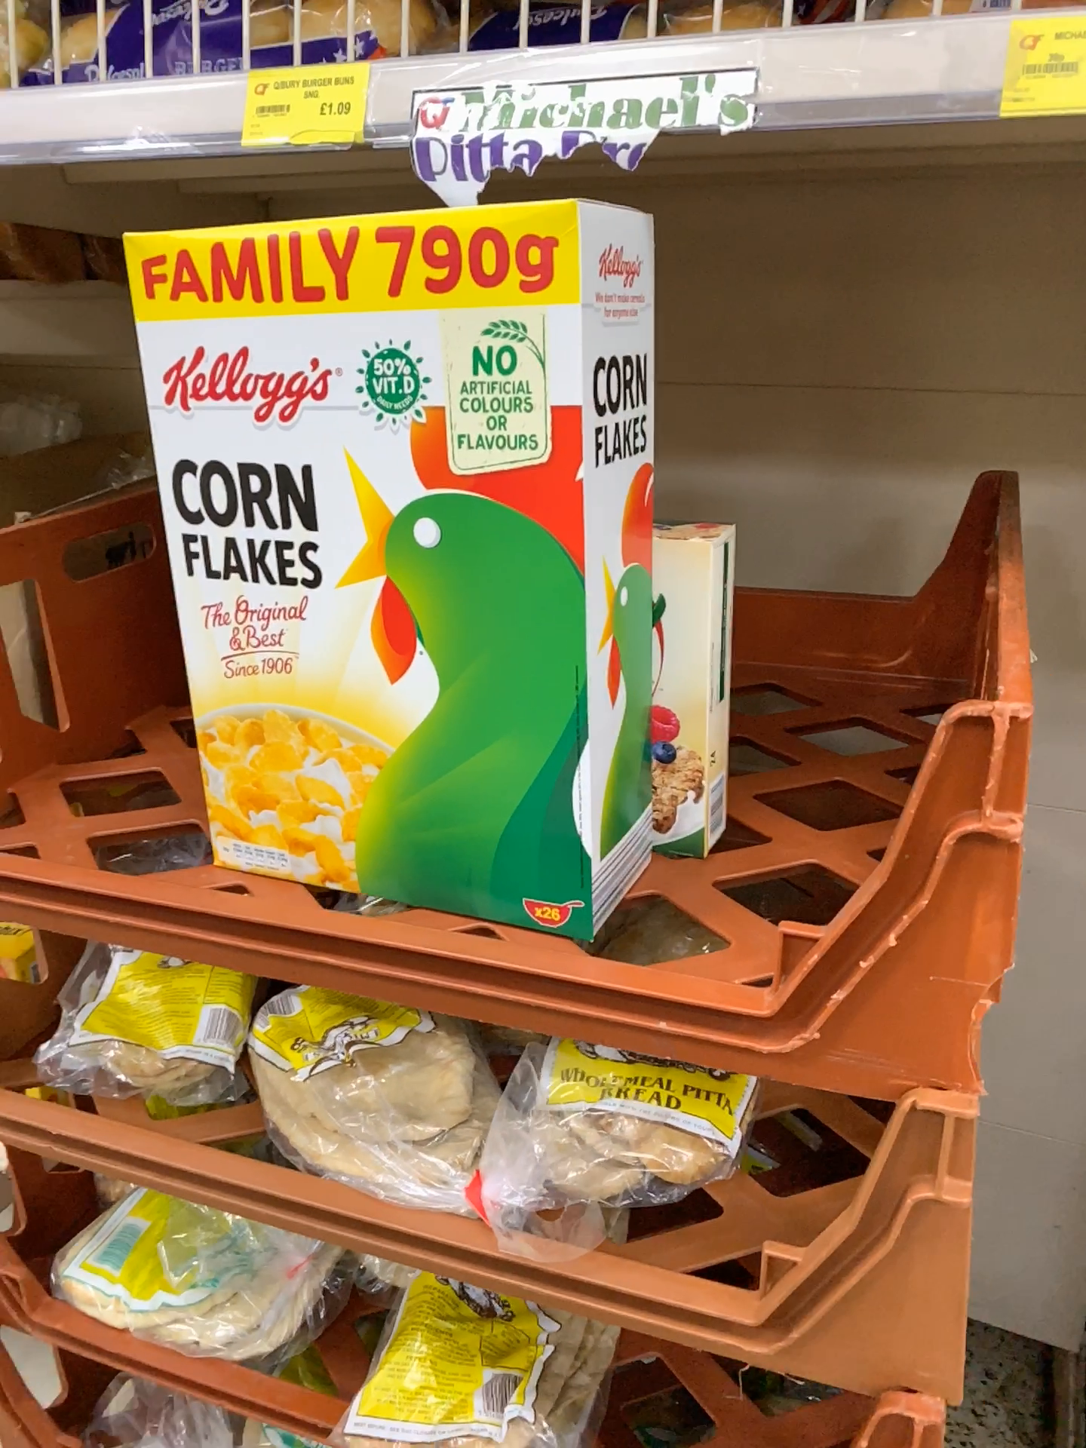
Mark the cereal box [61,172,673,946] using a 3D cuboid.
[{"bbox_3d":[-0.079,-0.083,0.568,0.270,0.337,0.091,7,23,22],"label":"cereal box"}]
